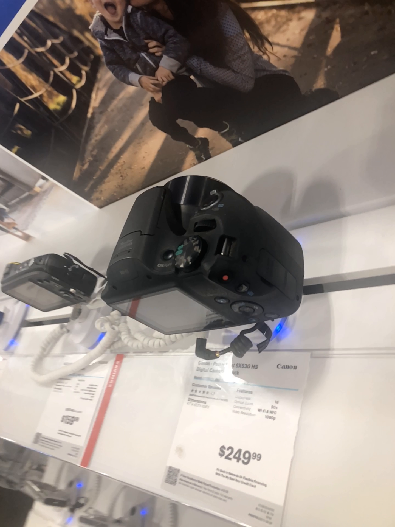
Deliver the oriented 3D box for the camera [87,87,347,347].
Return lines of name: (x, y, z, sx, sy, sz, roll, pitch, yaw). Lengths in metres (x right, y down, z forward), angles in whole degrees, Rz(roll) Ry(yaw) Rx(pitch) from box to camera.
camera: (0.012, -0.017, 0.264, 0.121, 0.070, 0.110, -14, 51, 45)
